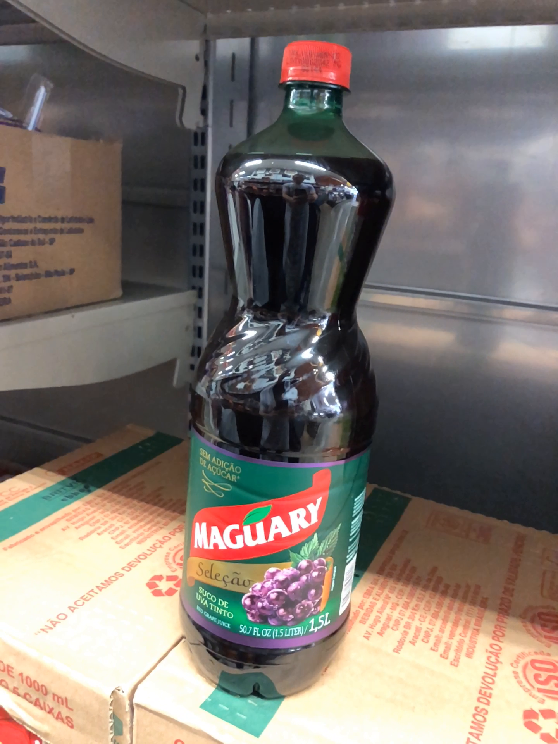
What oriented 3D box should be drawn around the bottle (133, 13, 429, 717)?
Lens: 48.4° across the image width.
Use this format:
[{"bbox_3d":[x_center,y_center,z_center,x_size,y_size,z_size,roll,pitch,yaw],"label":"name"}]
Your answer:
[{"bbox_3d":[-0.003,0.004,0.294,0.100,0.289,0.080,7,16,8],"label":"bottle"}]
